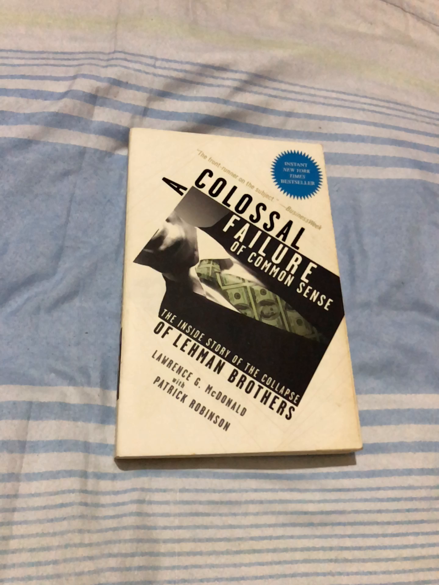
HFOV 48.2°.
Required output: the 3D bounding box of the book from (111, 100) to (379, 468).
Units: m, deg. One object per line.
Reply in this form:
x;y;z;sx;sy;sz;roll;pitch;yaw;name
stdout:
0.008;-0.011;0.307;0.140;0.040;0.220;2;69;-12;book
